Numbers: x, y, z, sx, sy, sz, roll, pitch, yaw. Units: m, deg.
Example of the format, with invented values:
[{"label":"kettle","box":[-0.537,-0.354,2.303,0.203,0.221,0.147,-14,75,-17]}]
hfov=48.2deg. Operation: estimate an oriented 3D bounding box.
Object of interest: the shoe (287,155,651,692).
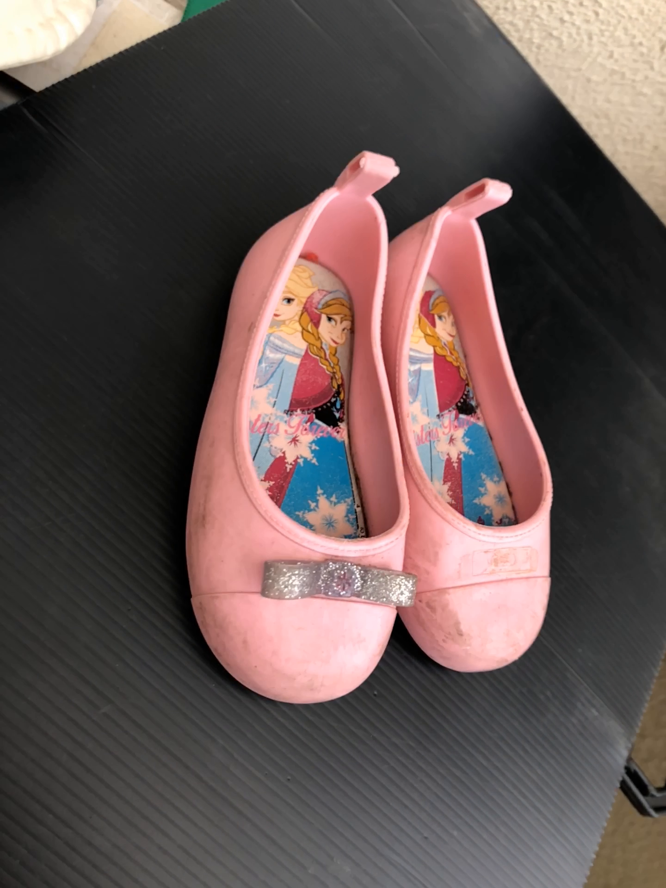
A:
[{"label":"shoe","box":[0.041,-0.002,0.261,0.078,0.070,0.160,4,72,-32]}]

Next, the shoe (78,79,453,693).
[{"label":"shoe","box":[-0.020,-0.009,0.227,0.078,0.070,0.160,11,68,-30]}]
